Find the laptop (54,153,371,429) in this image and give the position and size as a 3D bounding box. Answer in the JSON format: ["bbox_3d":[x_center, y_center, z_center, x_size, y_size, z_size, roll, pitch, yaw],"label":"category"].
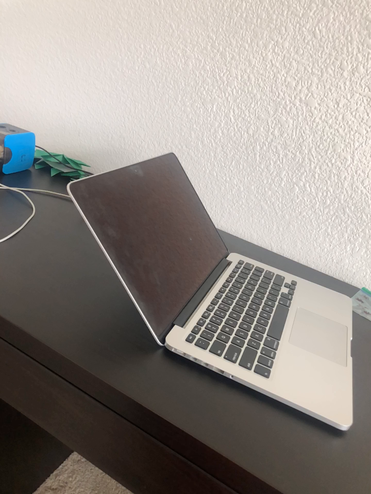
[{"bbox_3d":[0.071,0.008,0.566,0.362,0.133,0.310,22,25,14],"label":"laptop"}]
